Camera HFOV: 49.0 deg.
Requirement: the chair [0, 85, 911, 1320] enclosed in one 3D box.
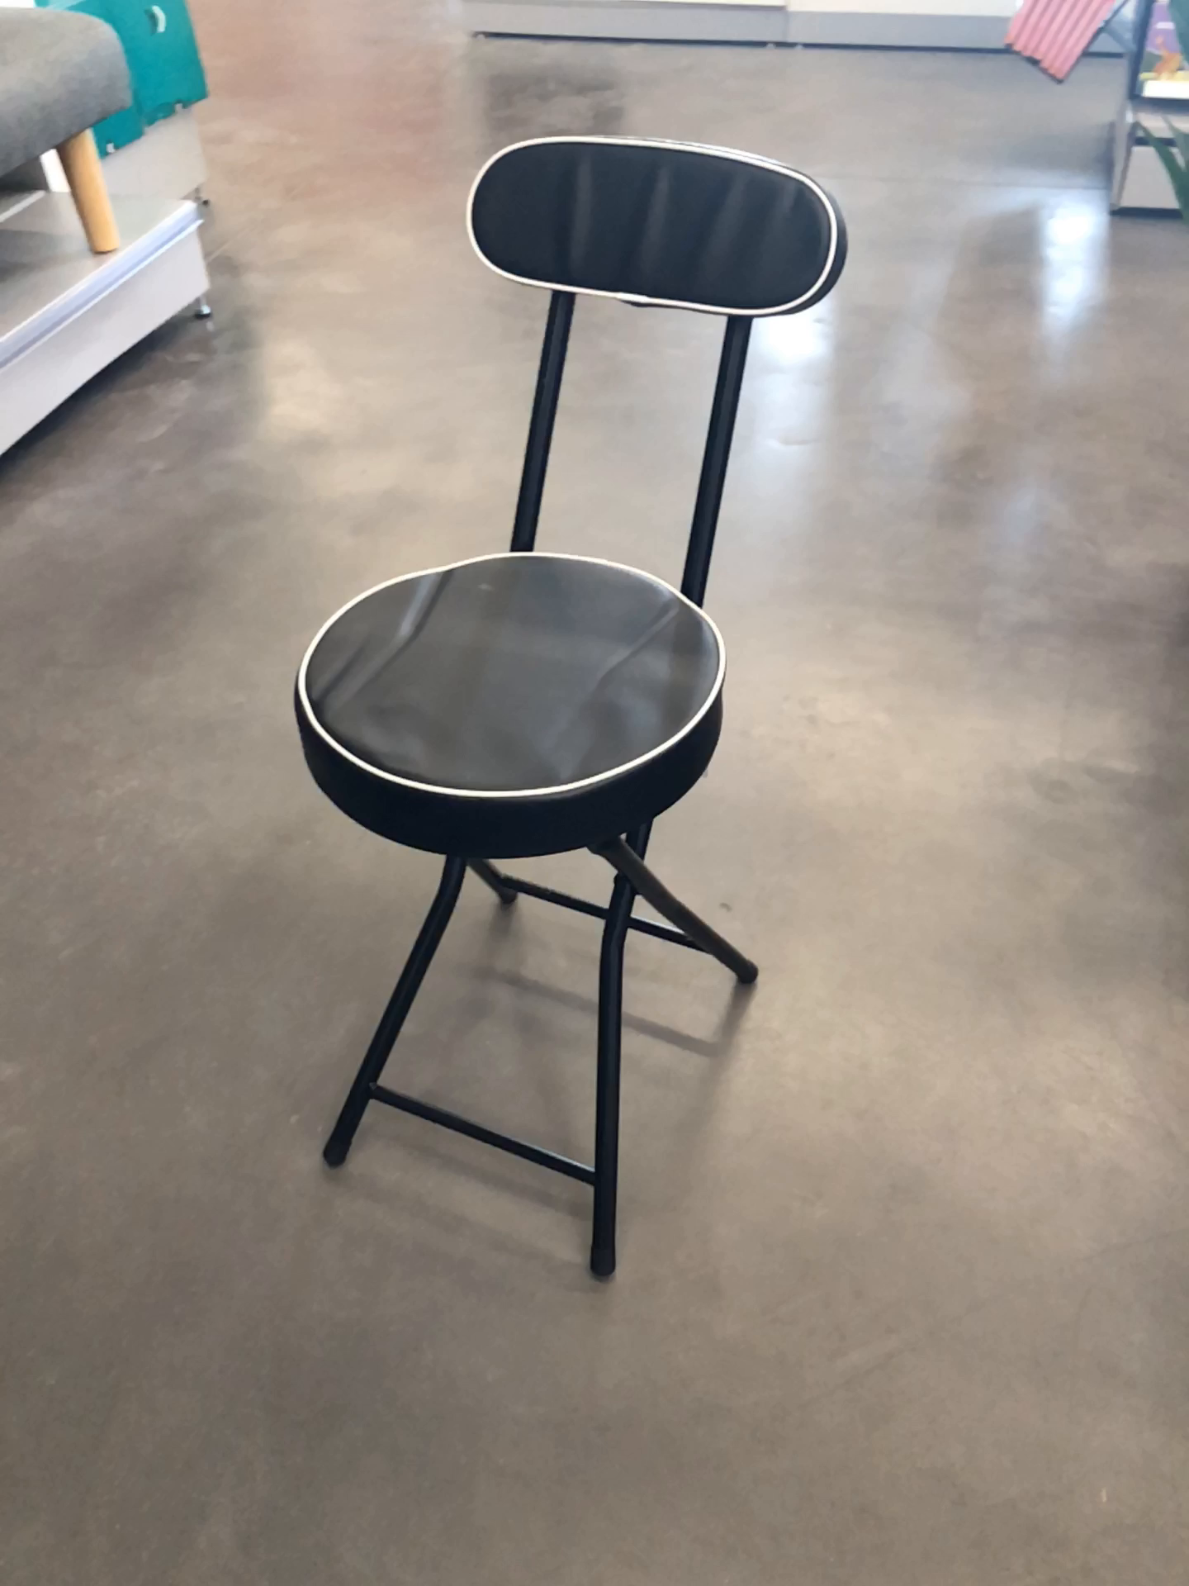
[{"bbox_3d":[-0.031,-0.058,1.024,0.340,0.756,0.513,16,46,20],"label":"chair"}]
